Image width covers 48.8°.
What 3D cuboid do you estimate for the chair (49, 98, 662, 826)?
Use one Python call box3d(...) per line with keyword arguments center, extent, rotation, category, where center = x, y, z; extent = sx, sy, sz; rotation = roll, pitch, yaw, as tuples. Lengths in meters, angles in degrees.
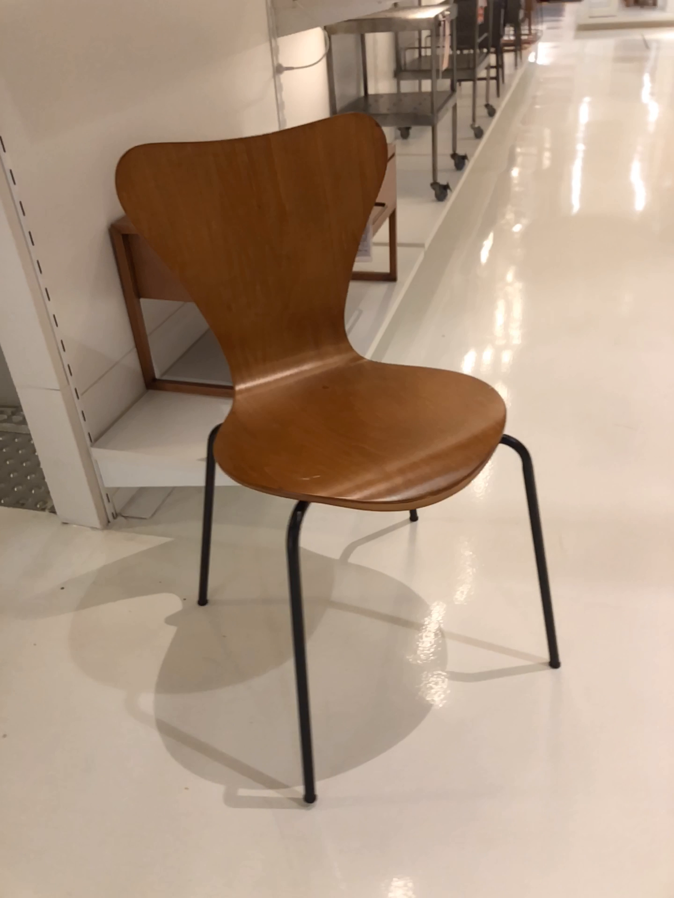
box3d(center=(0.004, -0.031, 1.122), extent=(0.541, 0.794, 0.574), rotation=(-20, 35, -21), category="chair")
